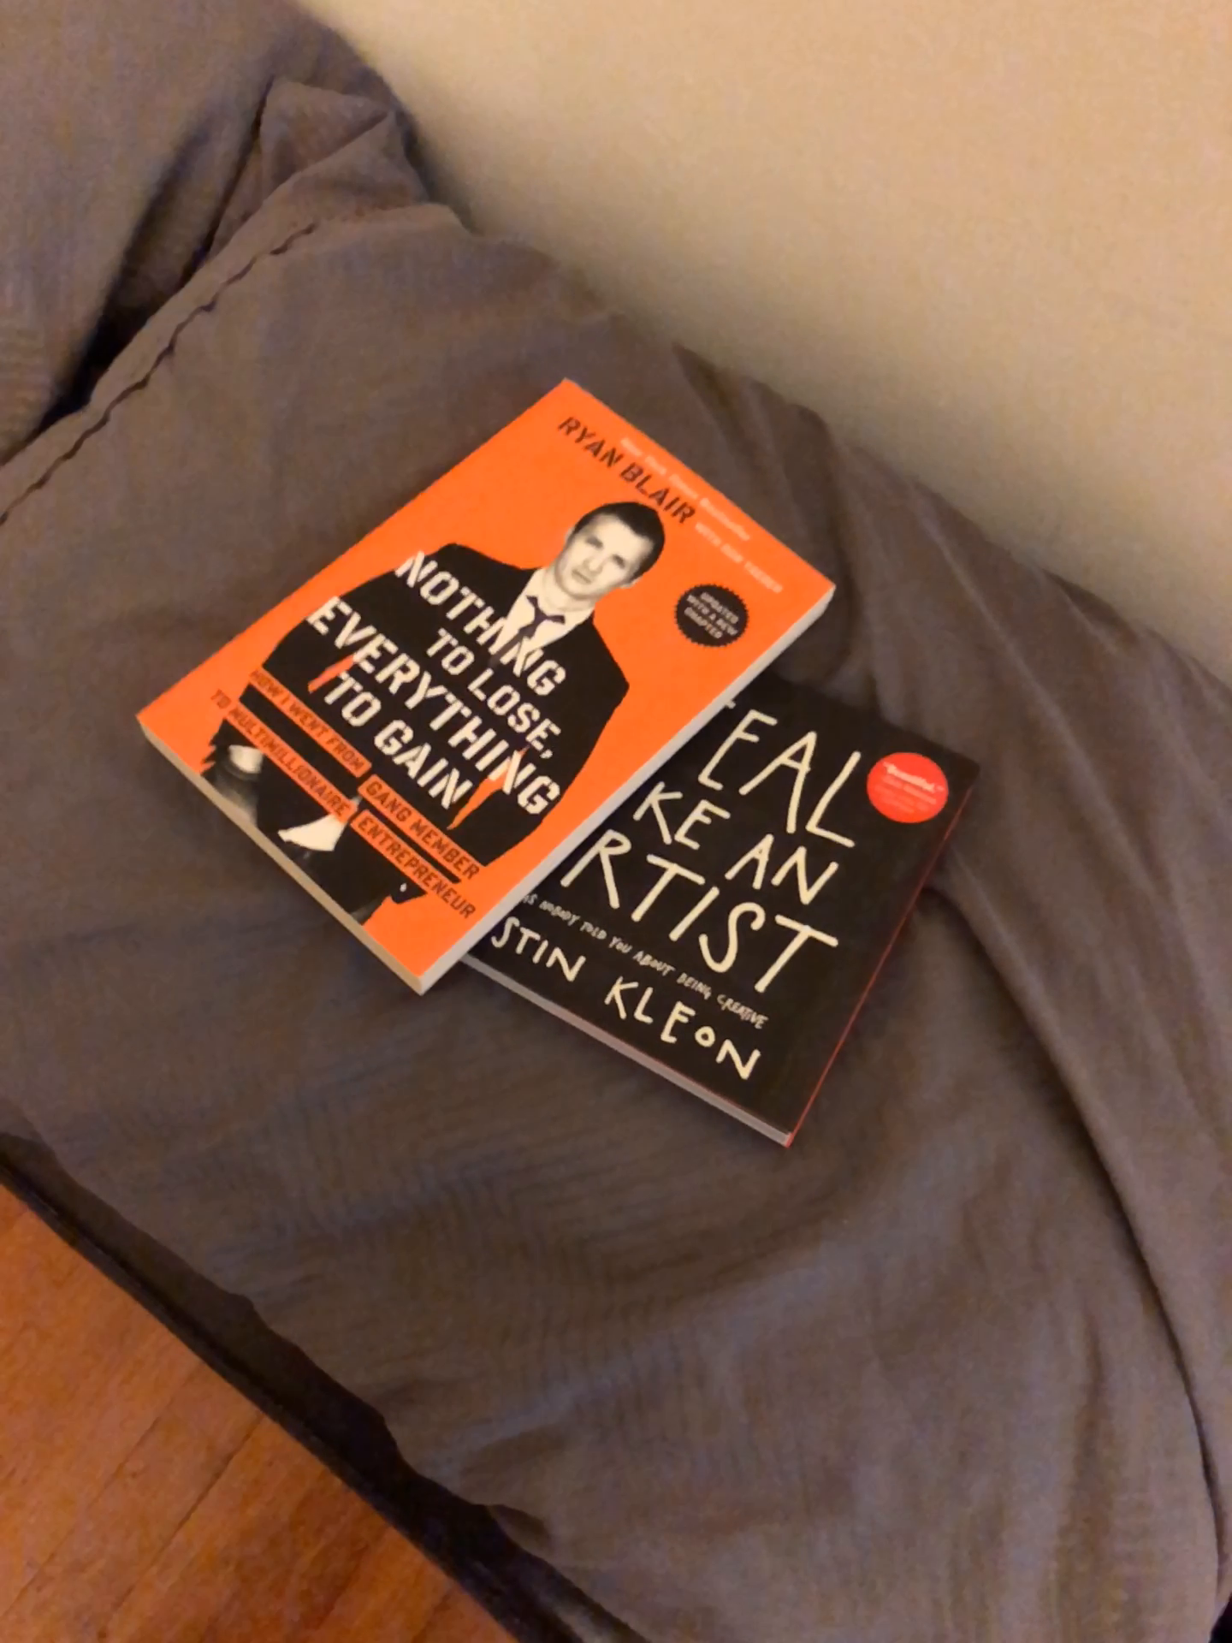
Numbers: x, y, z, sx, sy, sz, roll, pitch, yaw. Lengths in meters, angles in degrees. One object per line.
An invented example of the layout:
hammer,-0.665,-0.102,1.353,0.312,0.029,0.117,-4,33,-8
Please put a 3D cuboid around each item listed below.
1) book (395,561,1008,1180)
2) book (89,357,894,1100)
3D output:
book,0.034,0.010,0.472,0.150,0.020,0.170,28,67,7
book,-0.038,-0.046,0.487,0.170,0.020,0.230,40,71,11
